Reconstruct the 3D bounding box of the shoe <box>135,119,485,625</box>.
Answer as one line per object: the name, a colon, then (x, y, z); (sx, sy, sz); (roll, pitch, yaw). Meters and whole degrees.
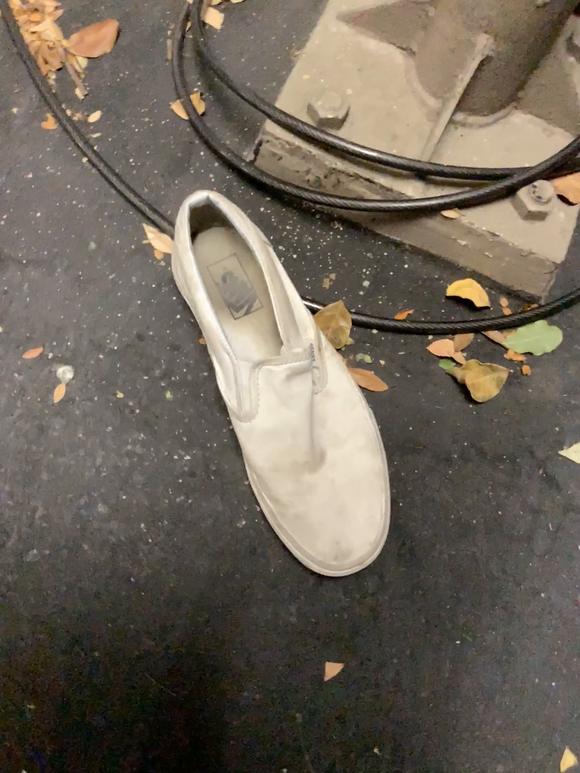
shoe: (-0.001, -0.014, 0.448); (0.120, 0.100, 0.310); (-17, 77, -14)
